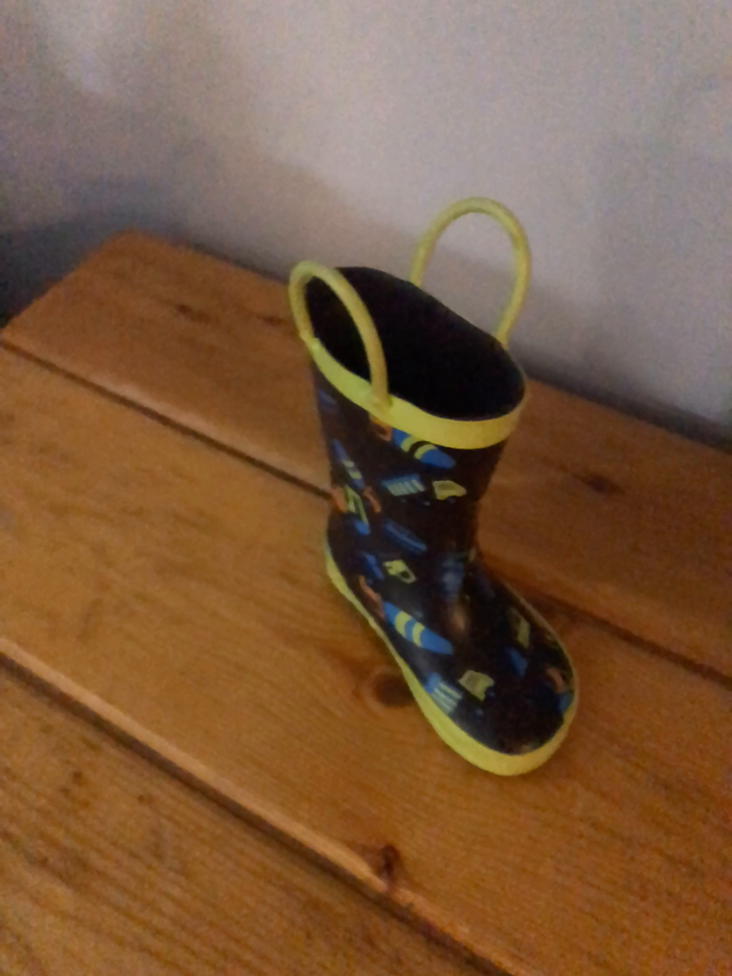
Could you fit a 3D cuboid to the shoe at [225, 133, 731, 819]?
[{"bbox_3d":[0.033,0.003,0.323,0.080,0.200,0.170,-28,56,-21],"label":"shoe"}]
